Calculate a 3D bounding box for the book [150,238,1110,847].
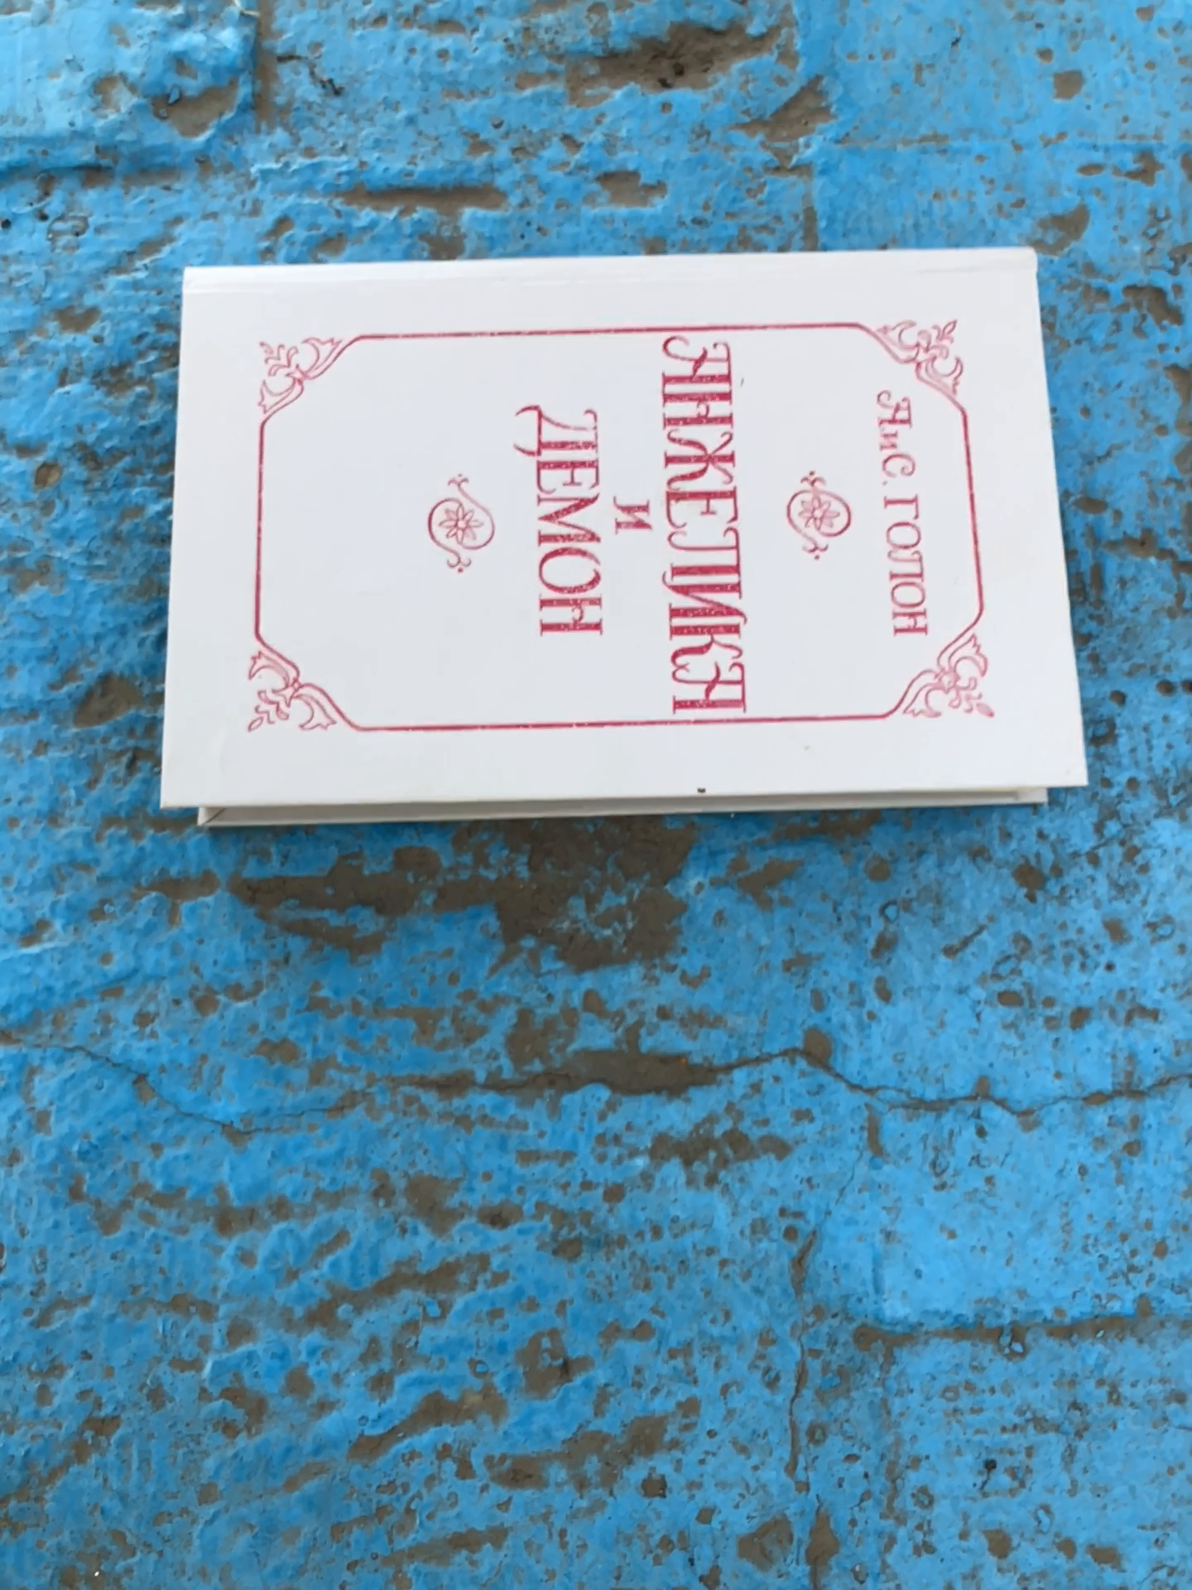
[{"bbox_3d":[0.007,-0.061,0.322,0.211,0.032,0.140,-1,78,0],"label":"book"}]
